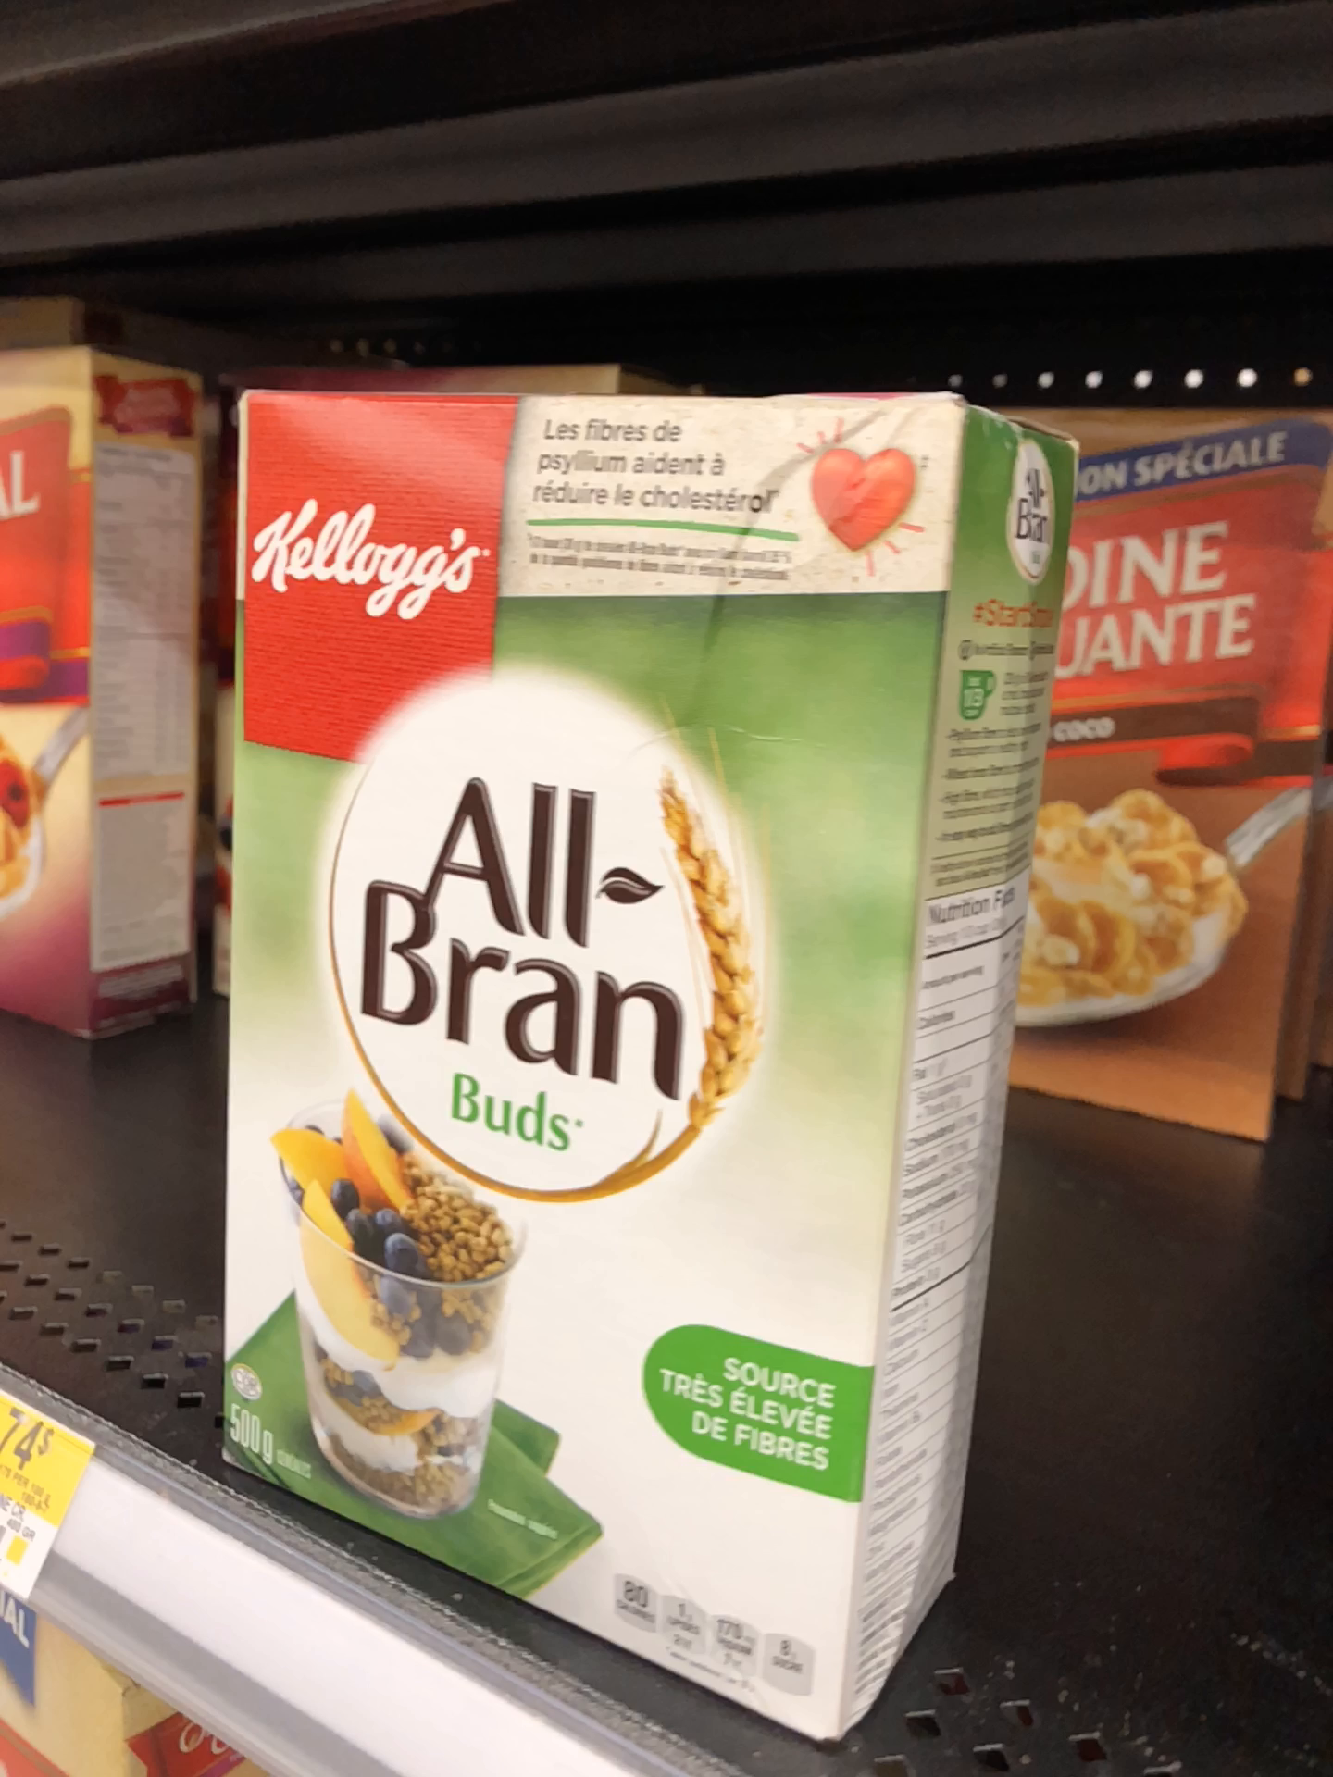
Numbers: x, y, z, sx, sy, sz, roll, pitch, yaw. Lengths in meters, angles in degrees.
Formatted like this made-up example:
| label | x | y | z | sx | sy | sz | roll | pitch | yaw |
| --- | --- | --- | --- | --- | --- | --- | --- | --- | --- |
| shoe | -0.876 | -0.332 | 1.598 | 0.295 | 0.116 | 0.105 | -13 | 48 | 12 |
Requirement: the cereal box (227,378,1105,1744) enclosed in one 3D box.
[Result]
| label | x | y | z | sx | sy | sz | roll | pitch | yaw |
| --- | --- | --- | --- | --- | --- | --- | --- | --- | --- |
| cereal box | -0.010 | 0.021 | 0.285 | 0.150 | 0.219 | 0.050 | 10 | 14 | 29 |
